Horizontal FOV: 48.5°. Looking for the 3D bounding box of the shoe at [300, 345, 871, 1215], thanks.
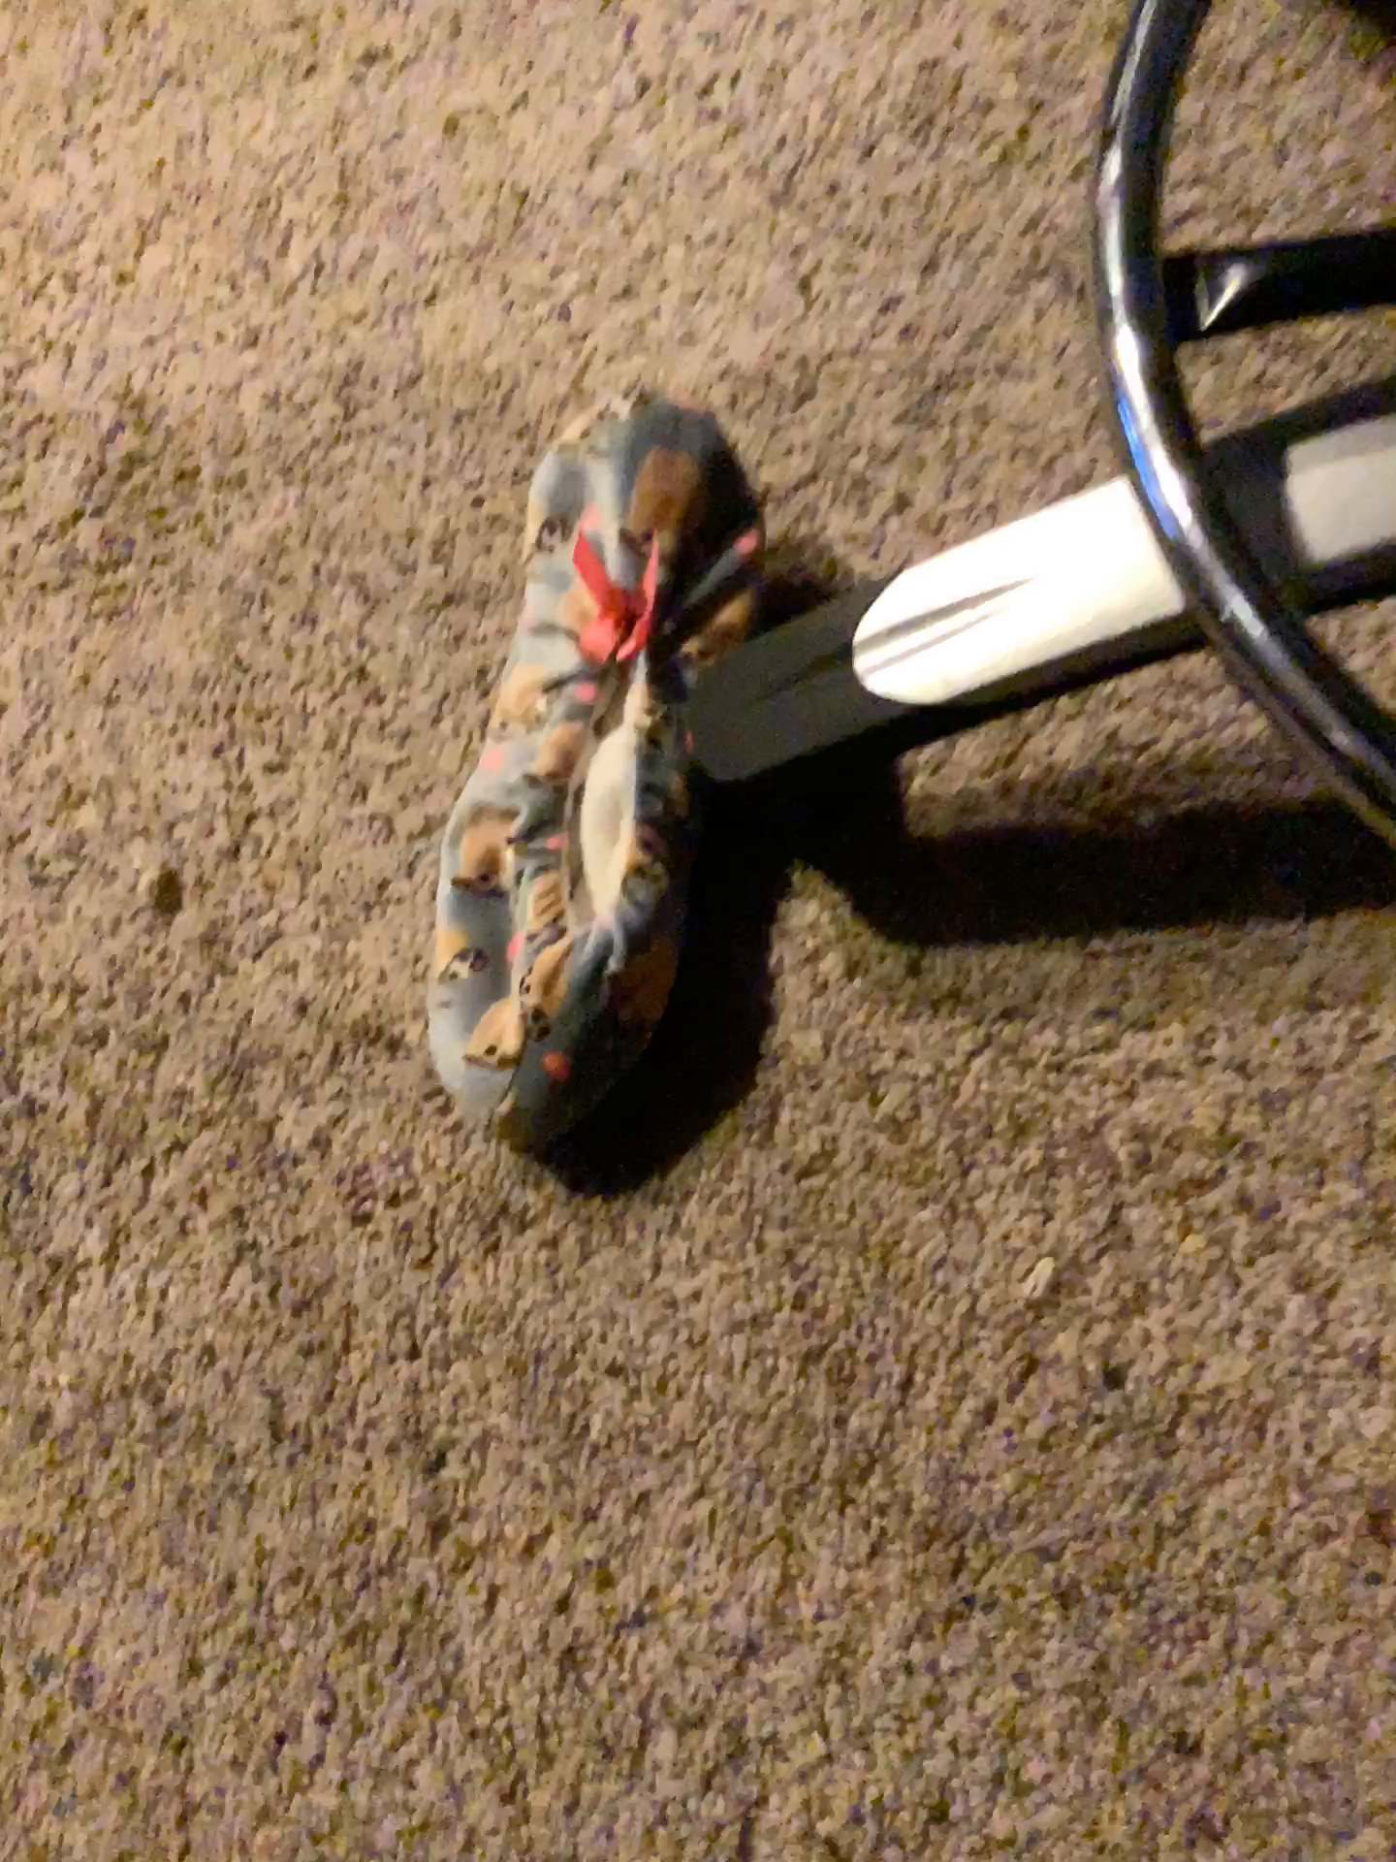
[{"bbox_3d":[-0.027,-0.052,0.494,0.120,0.070,0.260,5,74,17],"label":"shoe"}]
